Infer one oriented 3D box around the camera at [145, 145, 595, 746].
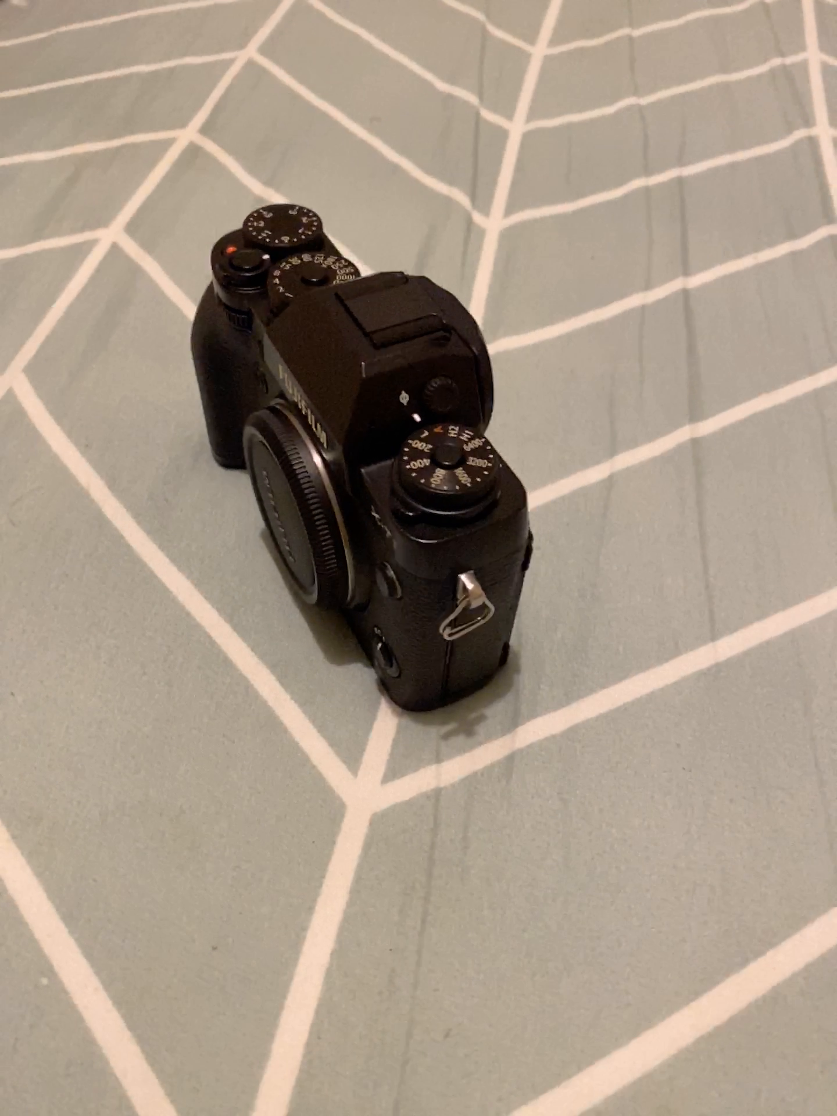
[{"bbox_3d":[-0.020,-0.033,0.232,0.052,0.087,0.130,-21,55,-18],"label":"camera"}]
